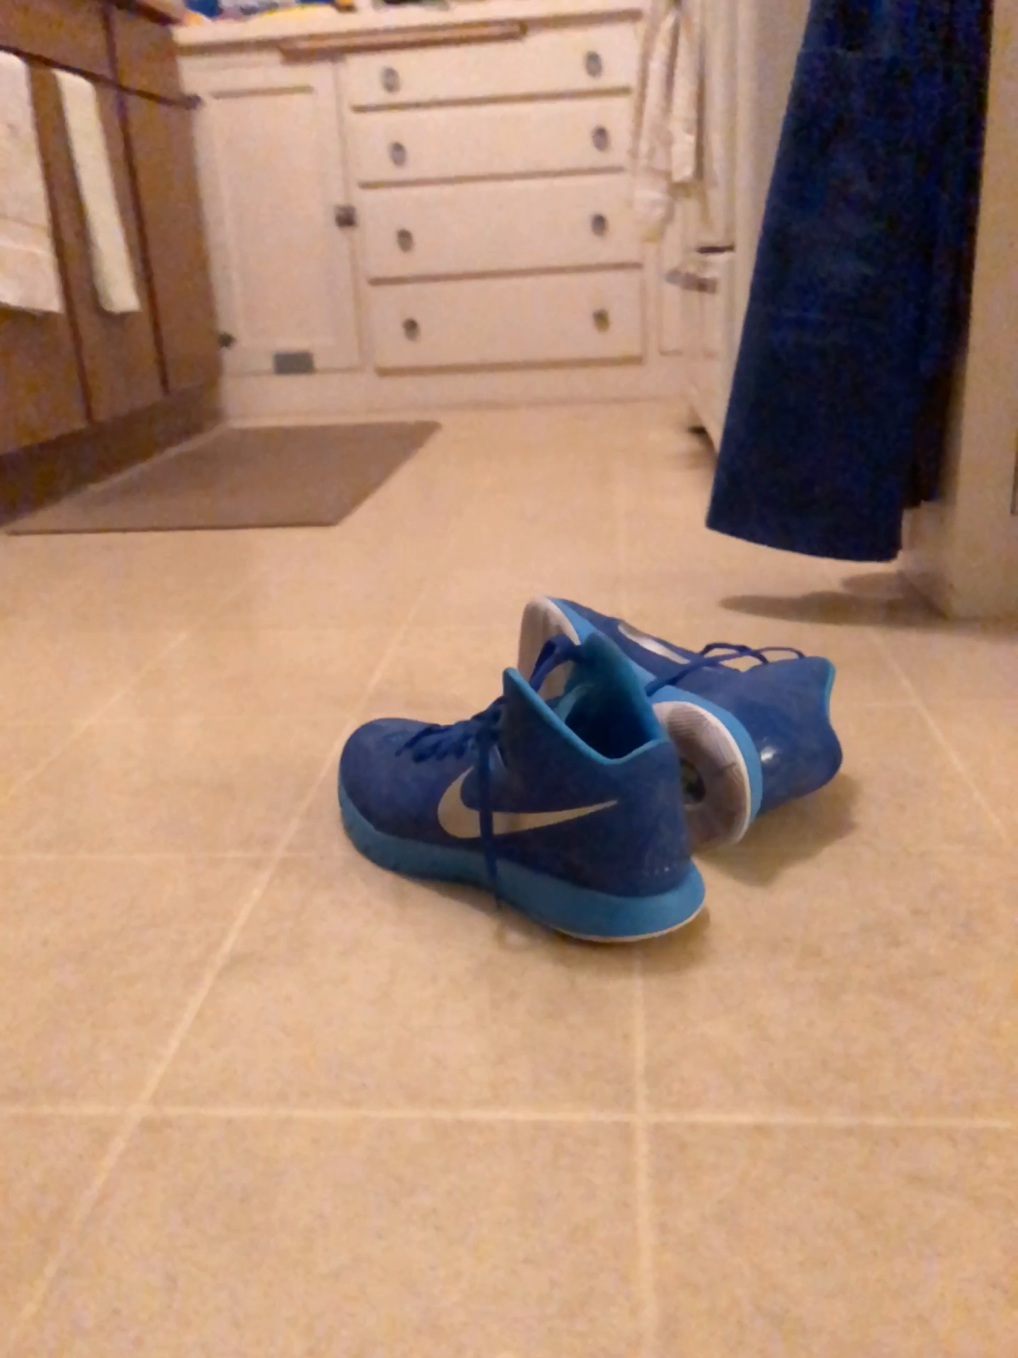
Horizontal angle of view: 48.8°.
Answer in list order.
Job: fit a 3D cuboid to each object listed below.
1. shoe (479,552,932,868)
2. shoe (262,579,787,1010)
[{"bbox_3d":[0.120,0.003,0.788,0.160,0.120,0.282,-10,21,-31],"label":"shoe"},{"bbox_3d":[-0.002,0.047,0.678,0.120,0.144,0.310,-22,27,-40],"label":"shoe"}]
